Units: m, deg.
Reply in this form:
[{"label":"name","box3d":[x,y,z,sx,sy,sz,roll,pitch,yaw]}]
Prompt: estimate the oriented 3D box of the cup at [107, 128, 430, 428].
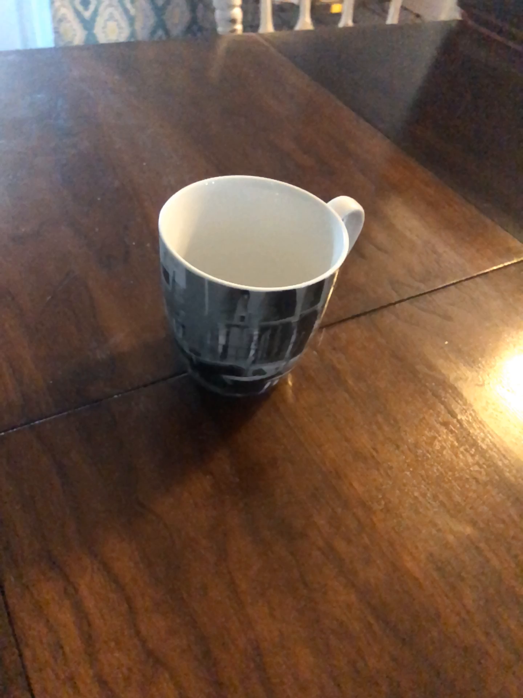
[{"label":"cup","box3d":[0.004,-0.048,0.328,0.100,0.080,0.140,37,52,23]}]
